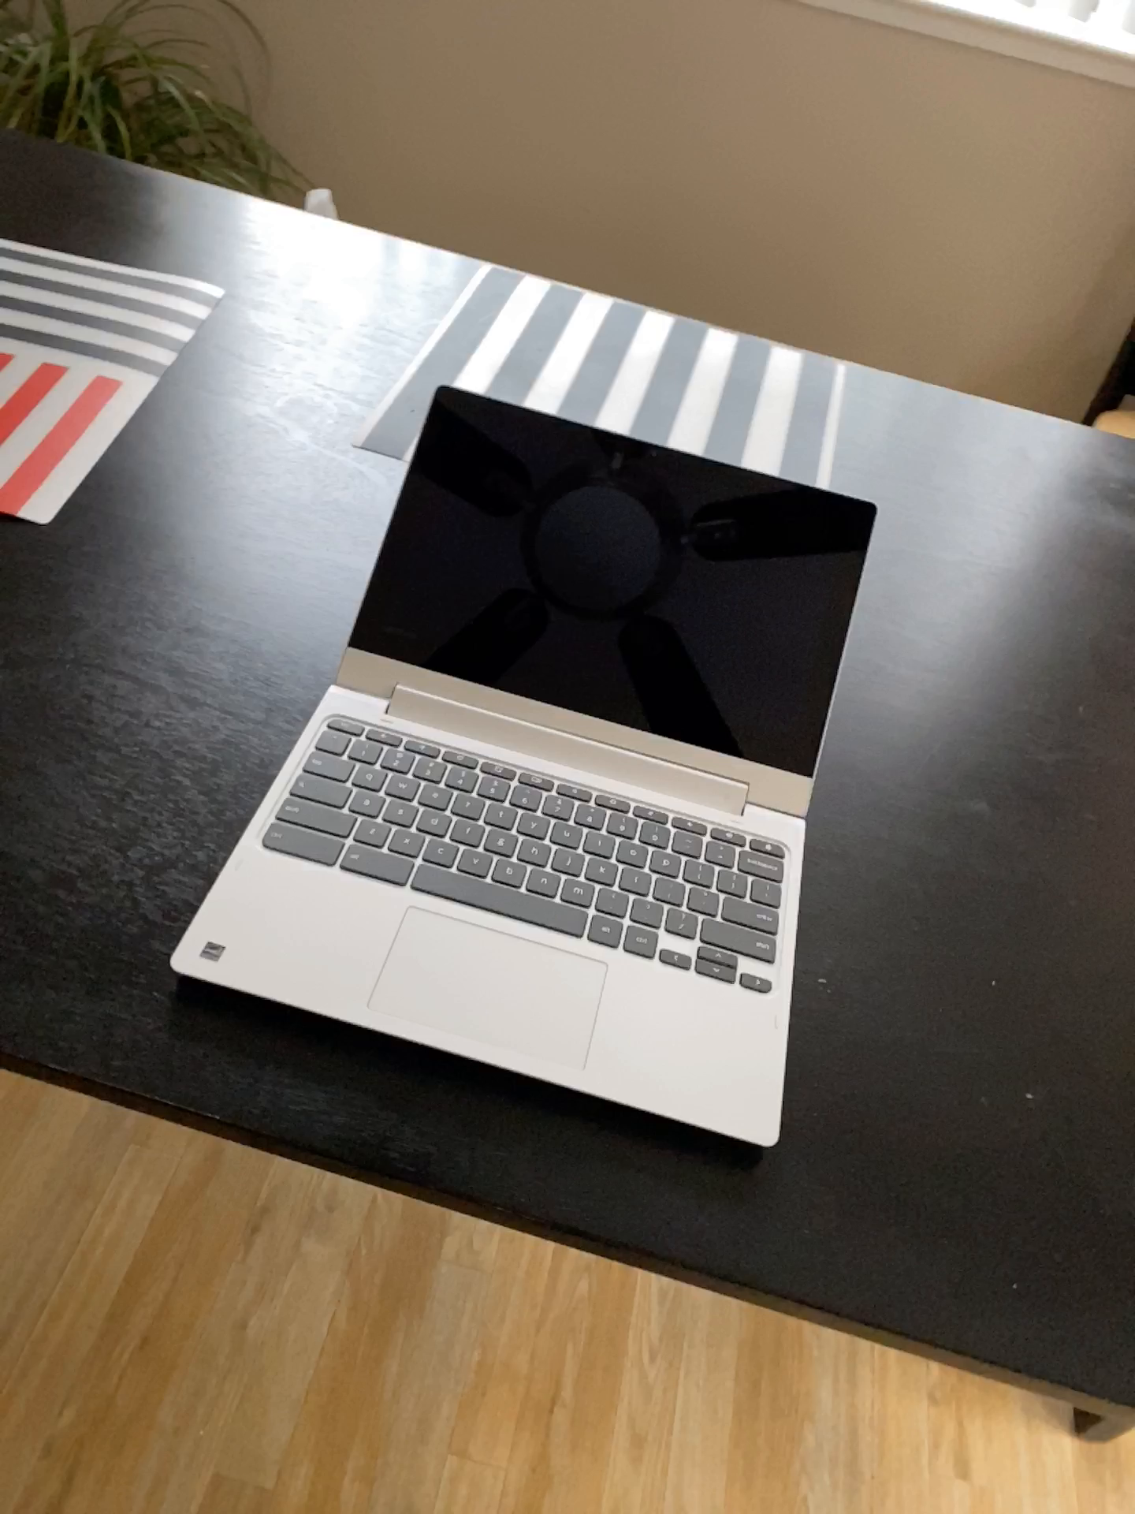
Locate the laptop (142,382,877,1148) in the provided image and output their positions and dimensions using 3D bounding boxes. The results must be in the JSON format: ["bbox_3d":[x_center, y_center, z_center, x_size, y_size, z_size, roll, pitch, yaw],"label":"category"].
[{"bbox_3d":[0.004,-0.030,0.614,0.285,0.106,0.382,16,44,2],"label":"laptop"}]
